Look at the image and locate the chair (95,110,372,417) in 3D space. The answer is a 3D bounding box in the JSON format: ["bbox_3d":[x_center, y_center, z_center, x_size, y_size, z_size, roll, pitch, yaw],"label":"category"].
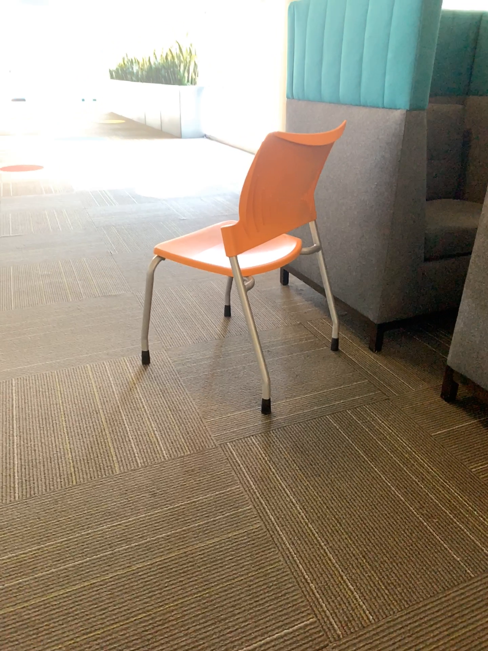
[{"bbox_3d":[-0.012,-0.280,1.731,0.612,0.805,0.642,17,31,29],"label":"chair"}]
